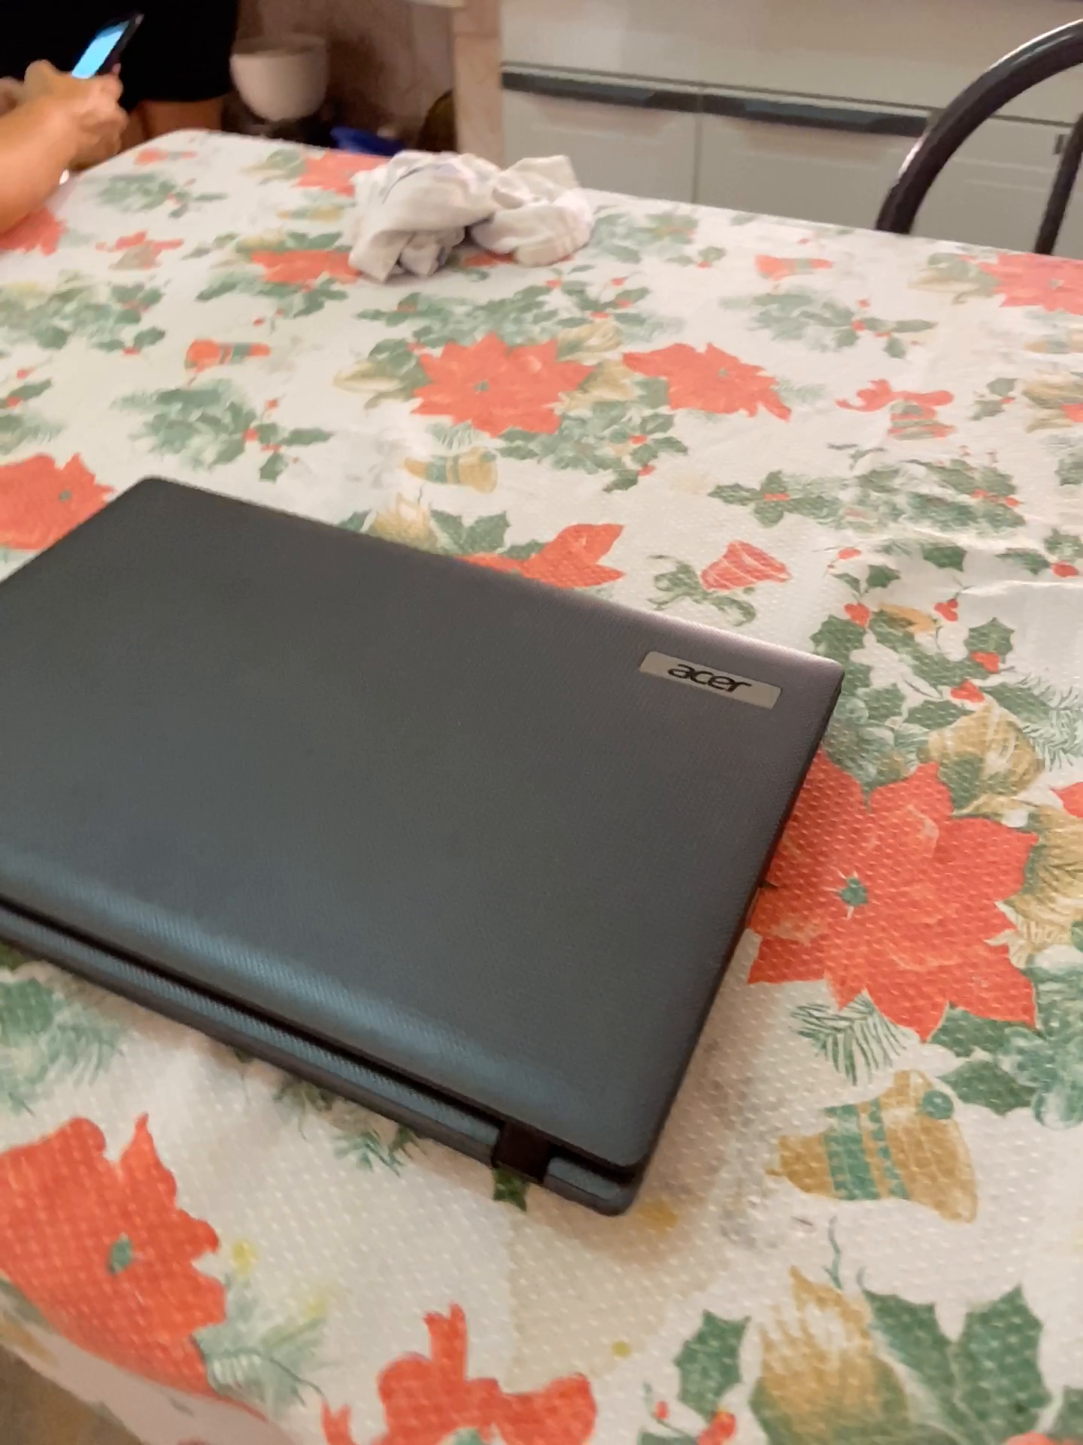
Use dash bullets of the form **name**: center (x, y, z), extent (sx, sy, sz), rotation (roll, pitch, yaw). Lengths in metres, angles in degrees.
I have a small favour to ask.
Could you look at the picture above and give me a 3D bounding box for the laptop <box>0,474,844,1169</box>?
- **laptop**: center (-0.083, -0.001, 0.433), extent (0.350, 0.001, 0.224), rotation (18, 48, 18)
